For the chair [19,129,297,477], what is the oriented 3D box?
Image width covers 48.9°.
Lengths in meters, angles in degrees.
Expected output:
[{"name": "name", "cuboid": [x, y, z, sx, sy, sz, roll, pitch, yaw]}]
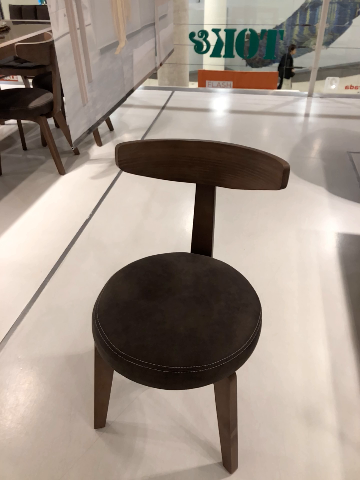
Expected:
[{"name": "chair", "cuboid": [0.006, 0.149, 1.068, 0.470, 0.705, 0.493, 9, 36, 14]}]
